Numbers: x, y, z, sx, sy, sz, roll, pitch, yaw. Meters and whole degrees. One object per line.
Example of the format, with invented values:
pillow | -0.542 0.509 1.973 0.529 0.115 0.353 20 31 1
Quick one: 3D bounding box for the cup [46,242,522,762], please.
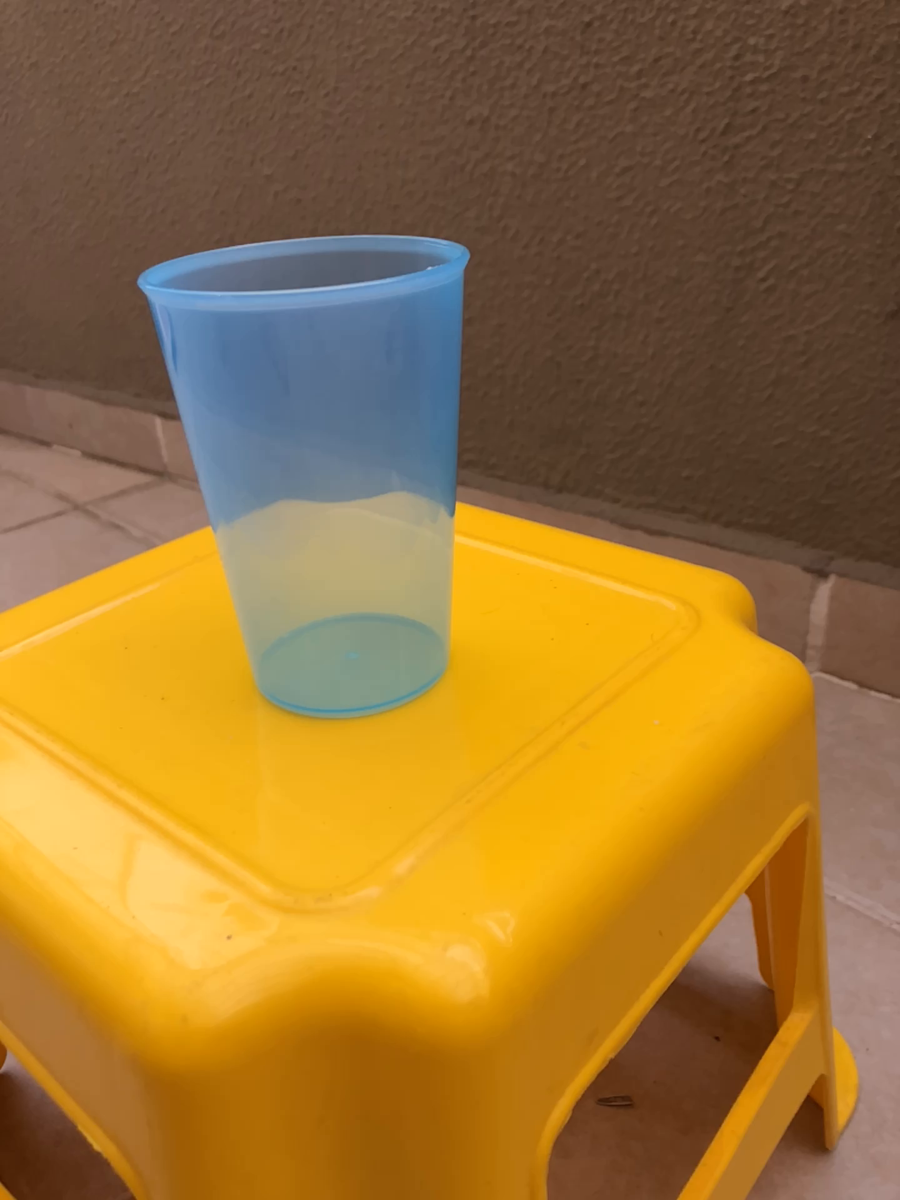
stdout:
cup | -0.034 -0.032 0.253 0.070 0.099 0.080 14 31 33
